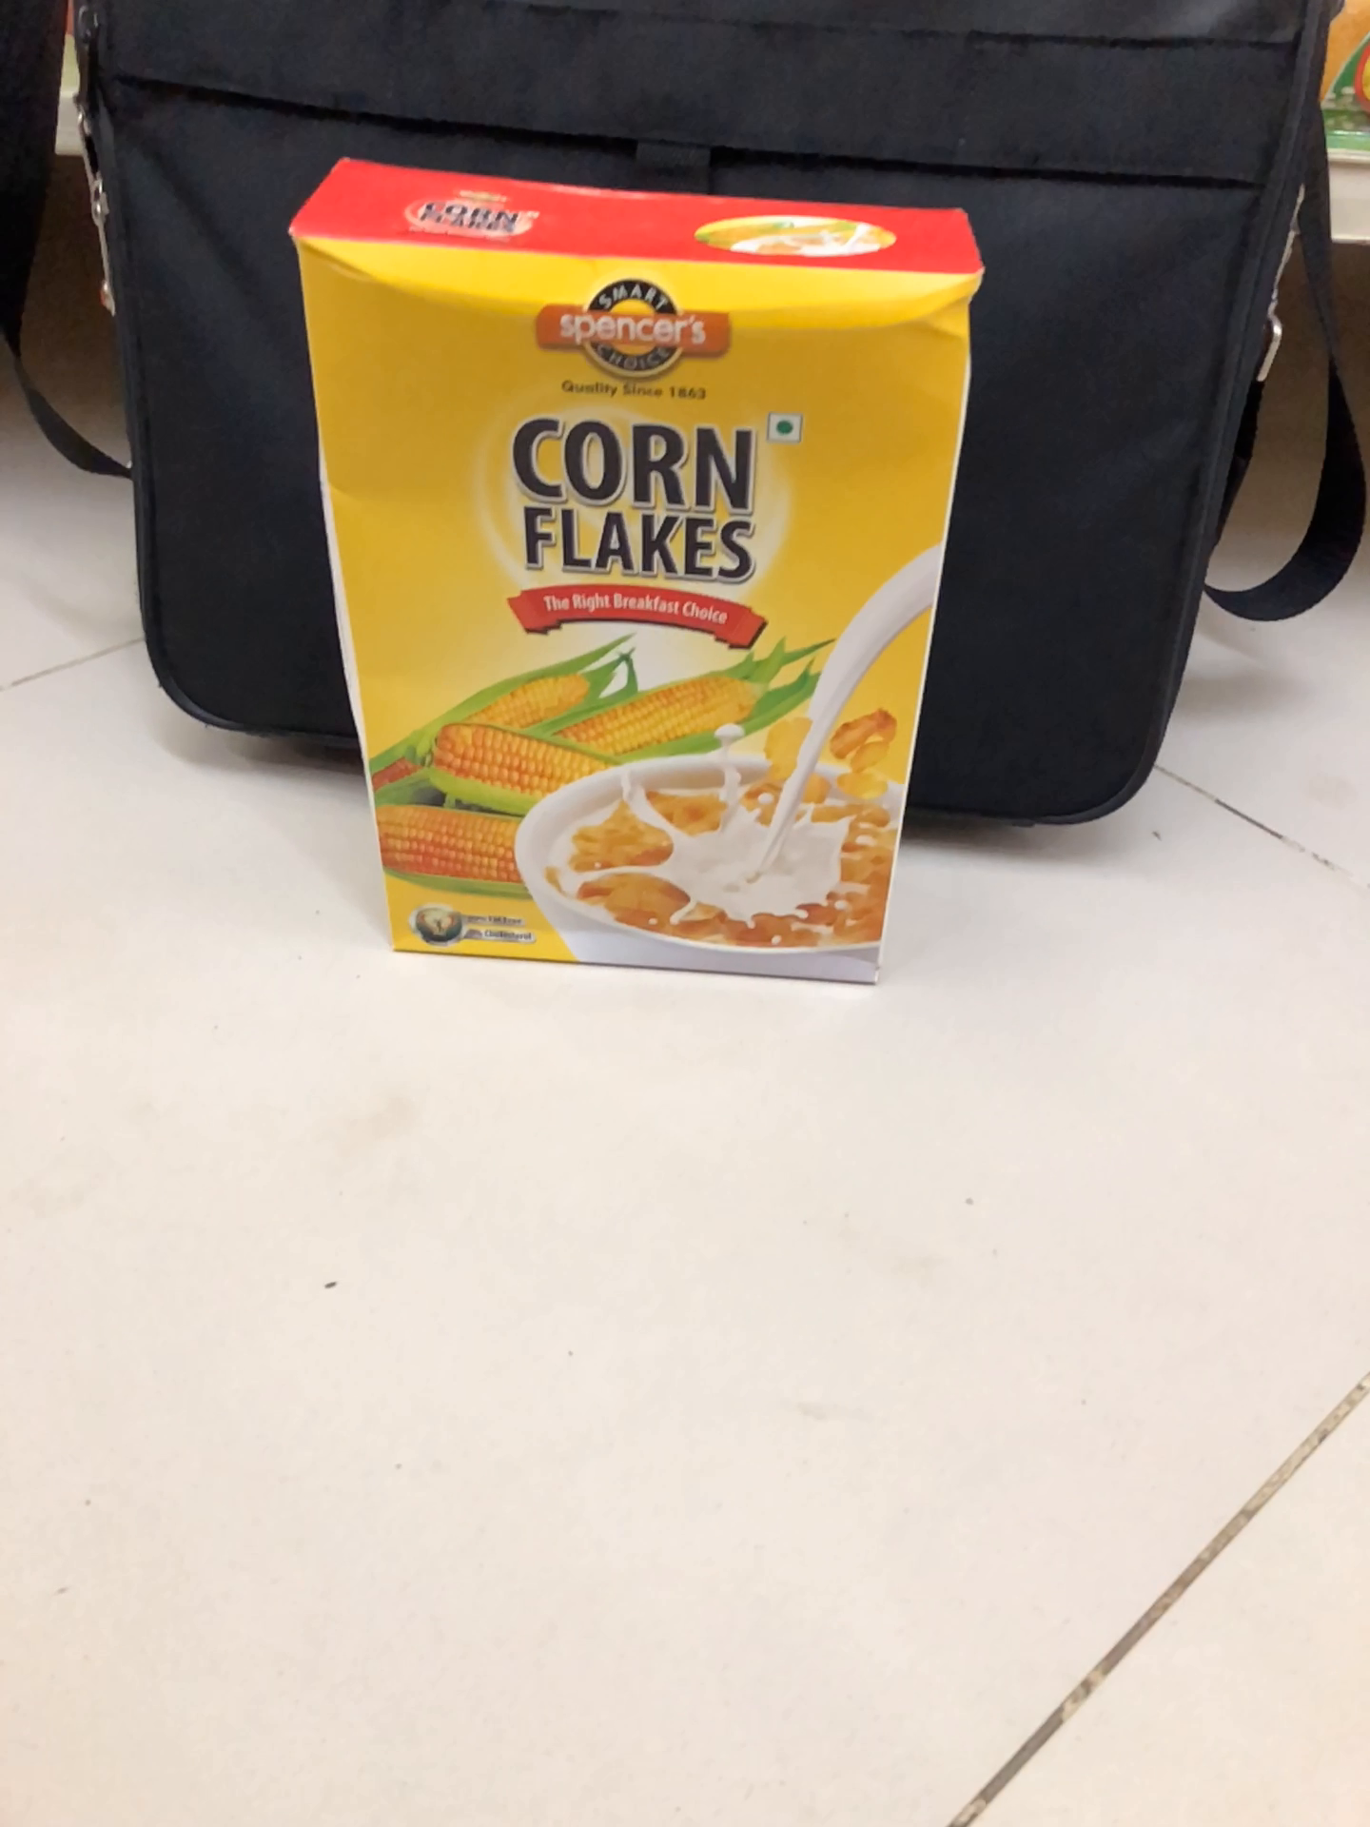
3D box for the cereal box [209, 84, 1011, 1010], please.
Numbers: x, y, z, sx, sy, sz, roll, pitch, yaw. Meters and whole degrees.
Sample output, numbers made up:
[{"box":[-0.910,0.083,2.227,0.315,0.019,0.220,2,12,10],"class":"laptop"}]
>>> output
[{"box":[-0.018,-0.097,0.470,0.190,0.268,0.070,4,41,3],"class":"cereal box"}]
